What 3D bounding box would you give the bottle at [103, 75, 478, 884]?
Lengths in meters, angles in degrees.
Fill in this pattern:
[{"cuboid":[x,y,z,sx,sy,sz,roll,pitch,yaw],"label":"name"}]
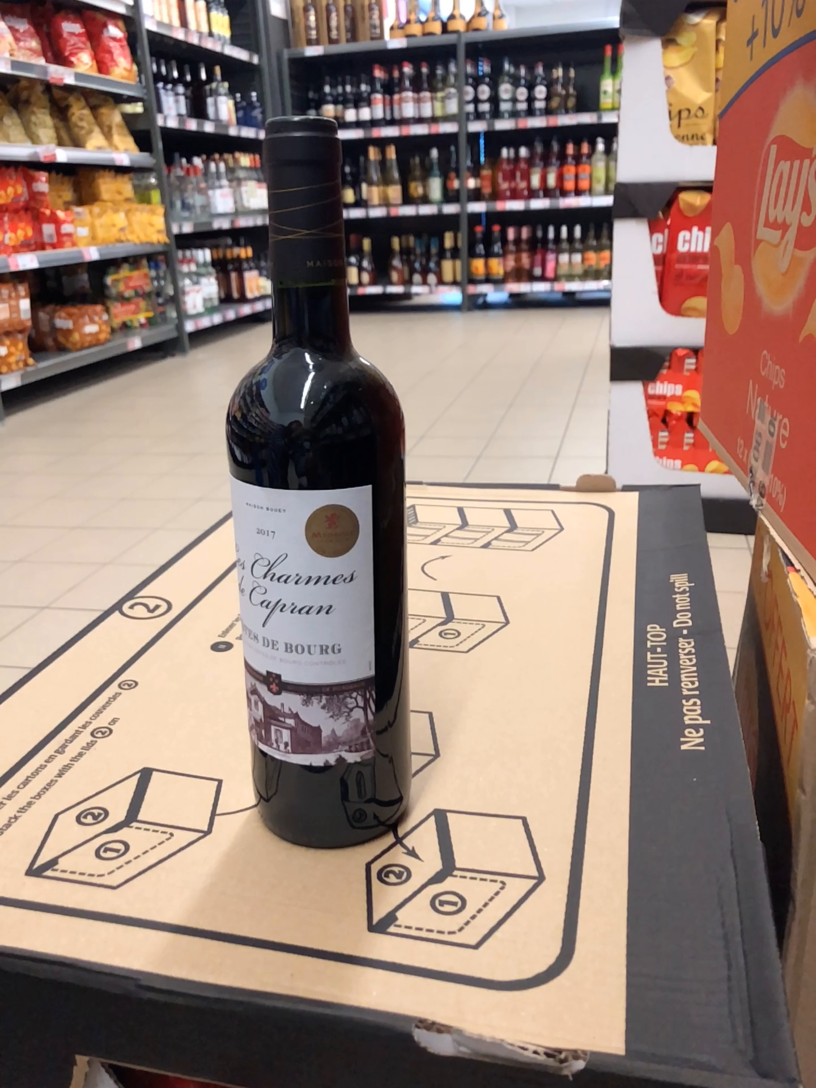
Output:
[{"cuboid":[-0.034,-0.020,0.366,0.090,0.289,0.091,-3,20,1],"label":"bottle"}]
